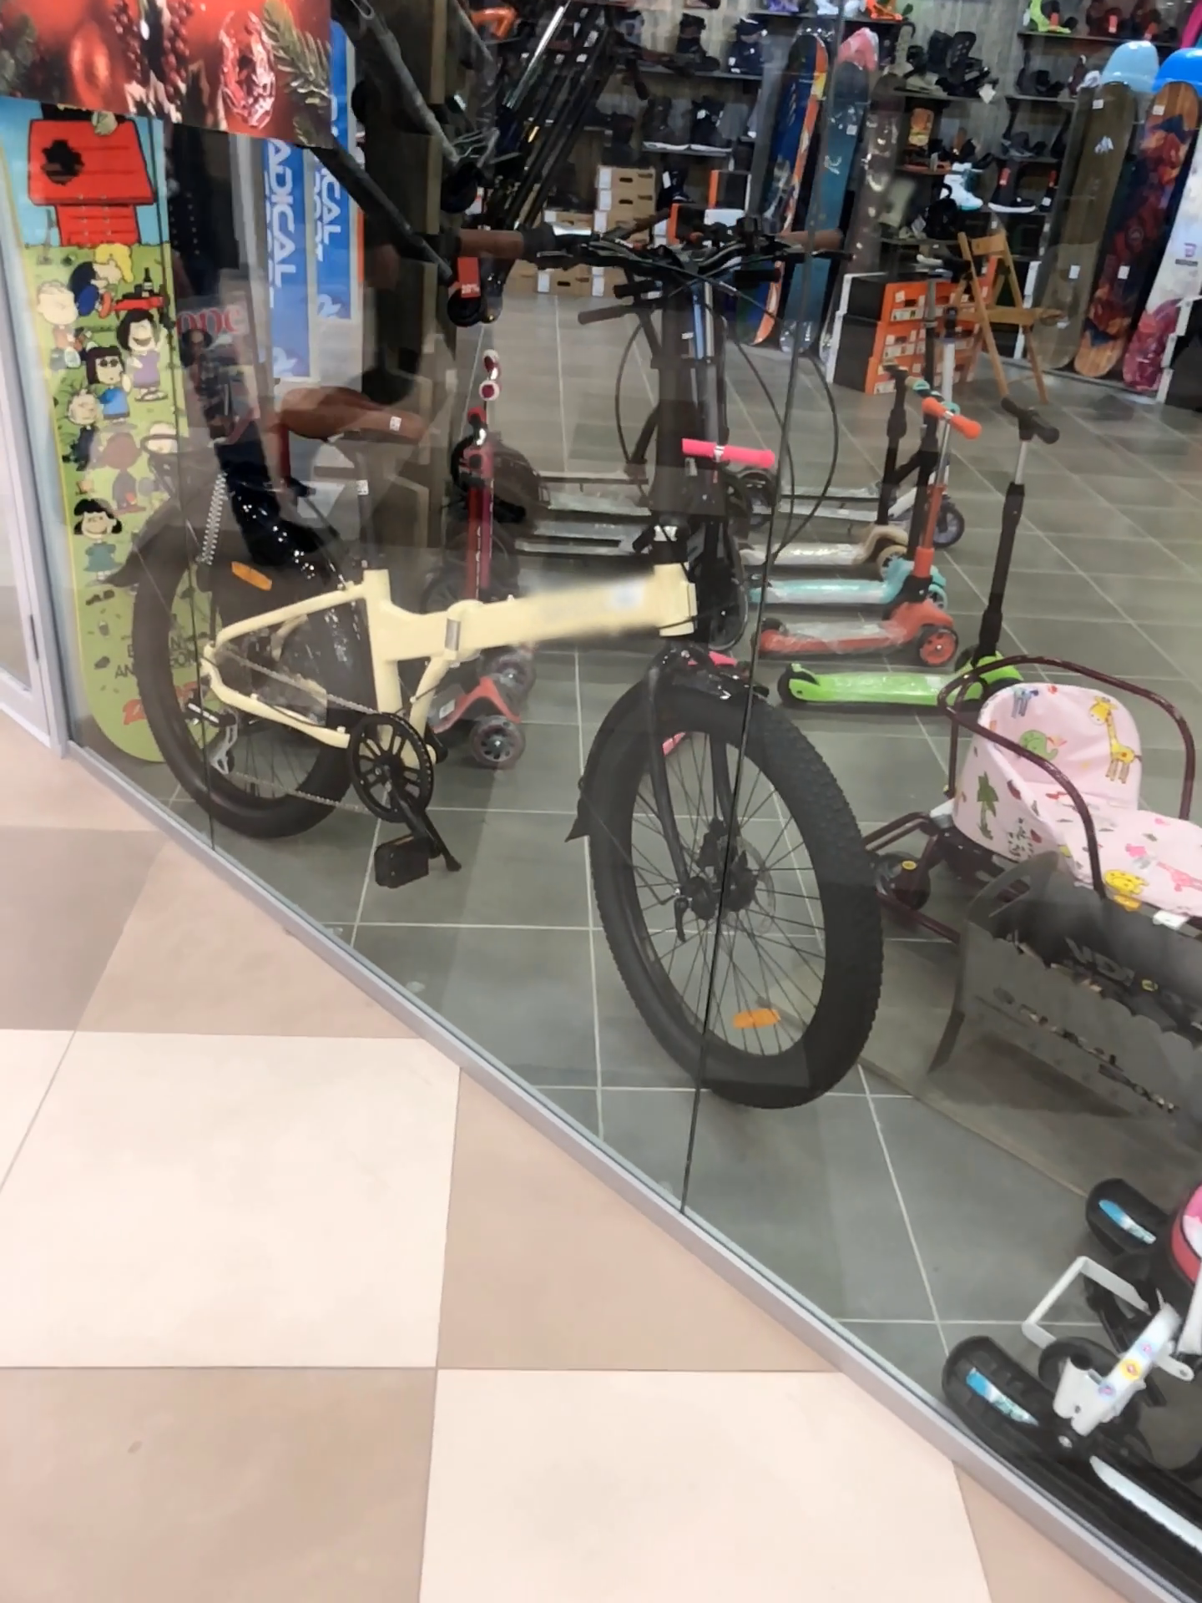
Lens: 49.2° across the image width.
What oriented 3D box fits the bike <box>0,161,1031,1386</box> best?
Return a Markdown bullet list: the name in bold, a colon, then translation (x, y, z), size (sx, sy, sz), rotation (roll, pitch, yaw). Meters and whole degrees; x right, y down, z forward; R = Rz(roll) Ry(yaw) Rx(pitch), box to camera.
- **bike**: translation (-0.323, -0.252, 2.026), size (1.706, 1.174, 0.595), rotation (26, 34, 34)
